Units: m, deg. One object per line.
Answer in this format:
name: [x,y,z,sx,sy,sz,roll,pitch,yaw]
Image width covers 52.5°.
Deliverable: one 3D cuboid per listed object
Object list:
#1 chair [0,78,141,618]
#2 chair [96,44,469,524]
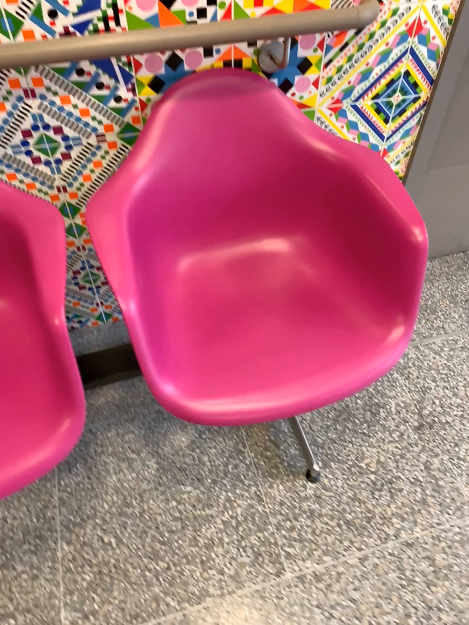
chair: [-0.540,0.103,0.911,0.520,0.763,0.605,-12,51,-10]
chair: [0.072,-0.032,1.041,0.520,0.763,0.605,-12,51,-10]
